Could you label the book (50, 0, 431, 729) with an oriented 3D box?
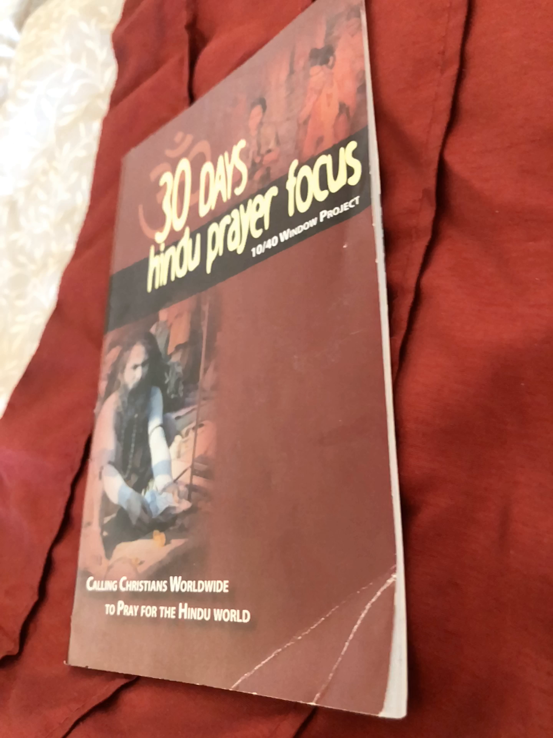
[{"bbox_3d":[-0.023,-0.010,0.208,0.142,0.010,0.210,-16,65,40],"label":"book"}]
